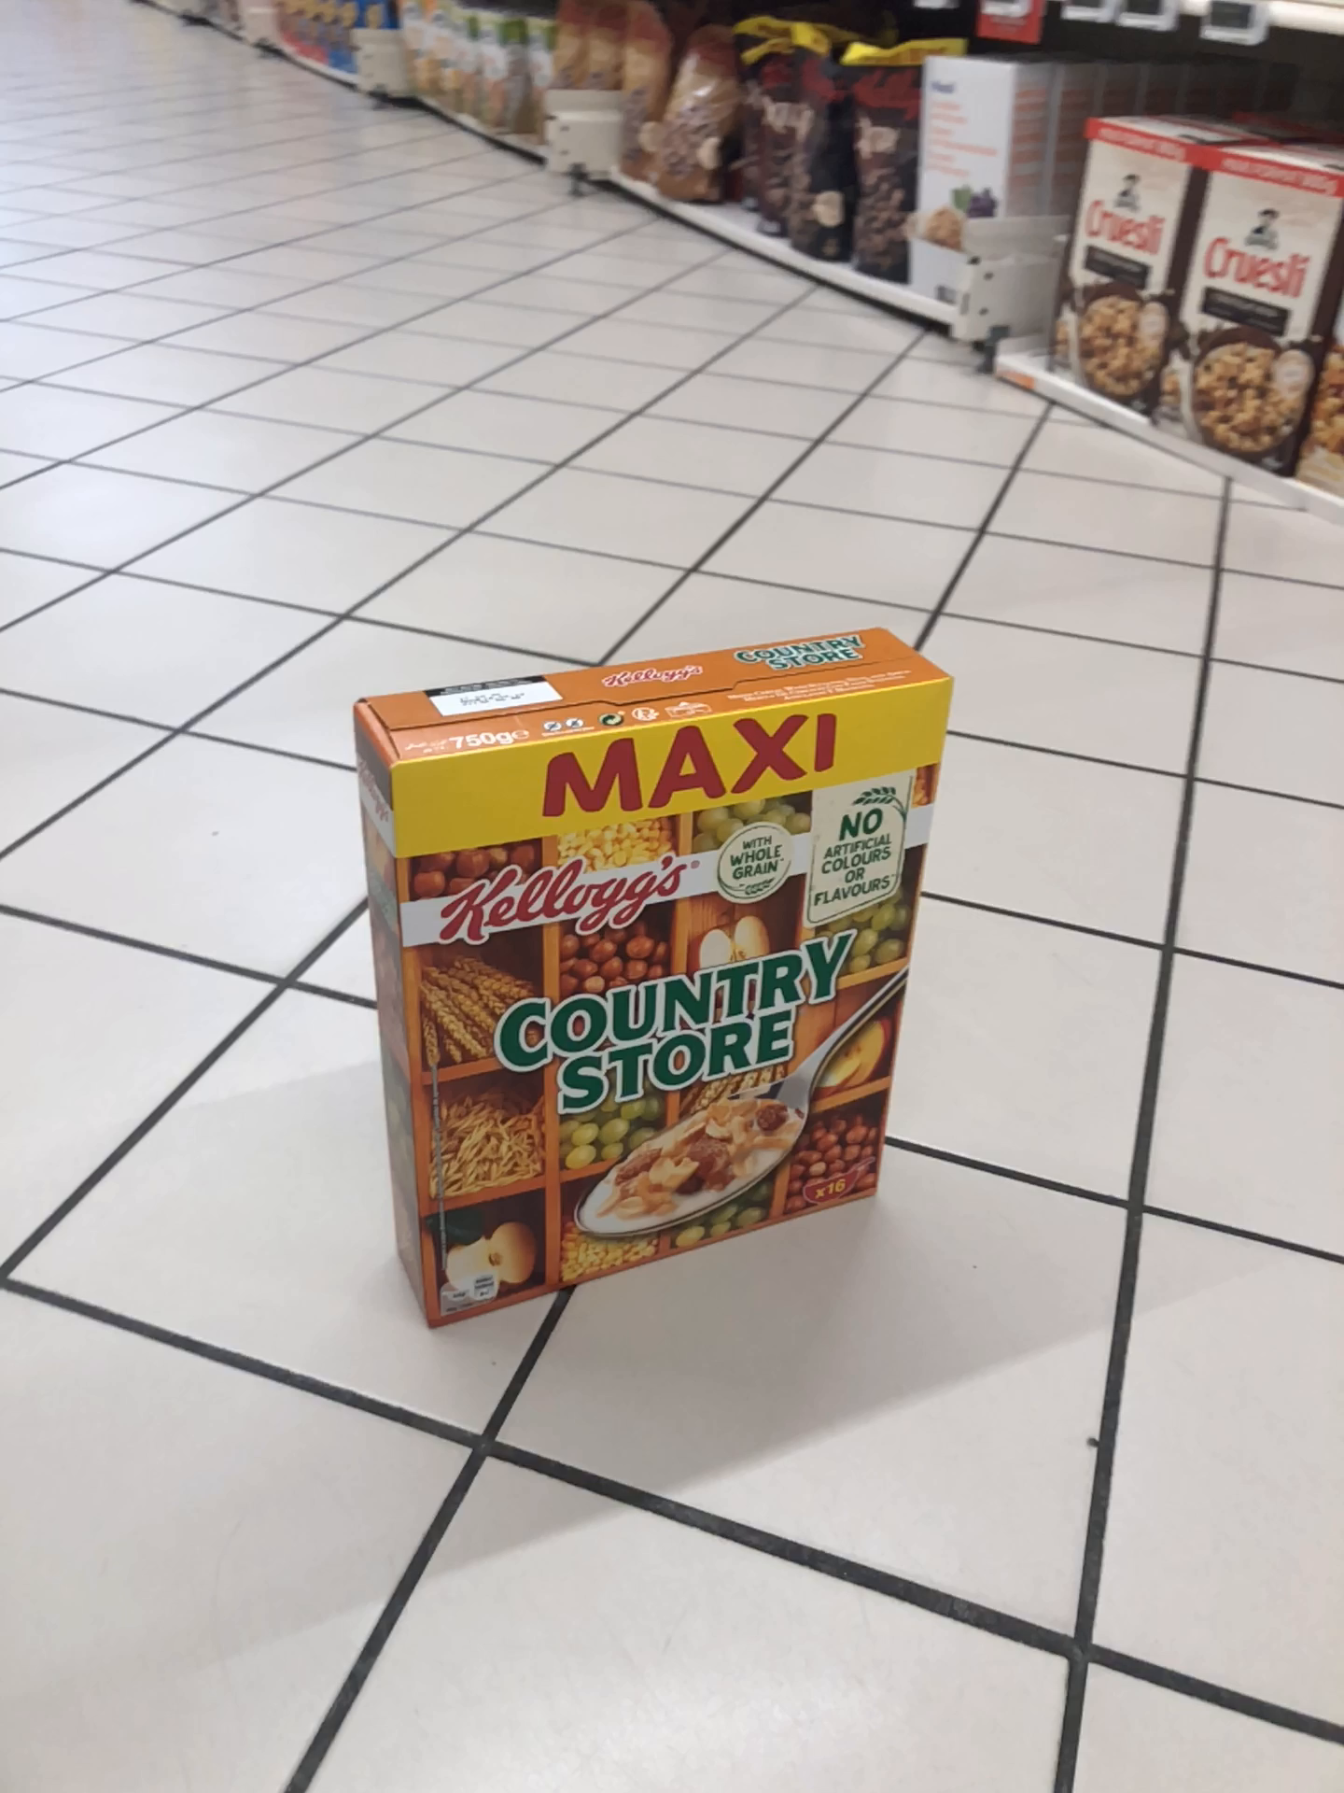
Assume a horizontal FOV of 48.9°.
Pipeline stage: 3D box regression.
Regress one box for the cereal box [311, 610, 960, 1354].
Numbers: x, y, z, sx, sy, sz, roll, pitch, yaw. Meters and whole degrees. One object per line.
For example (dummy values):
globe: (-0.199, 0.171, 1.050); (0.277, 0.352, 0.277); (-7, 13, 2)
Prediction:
cereal box: (-0.014, 0.032, 0.536); (0.201, 0.239, 0.060); (-12, 35, -22)
